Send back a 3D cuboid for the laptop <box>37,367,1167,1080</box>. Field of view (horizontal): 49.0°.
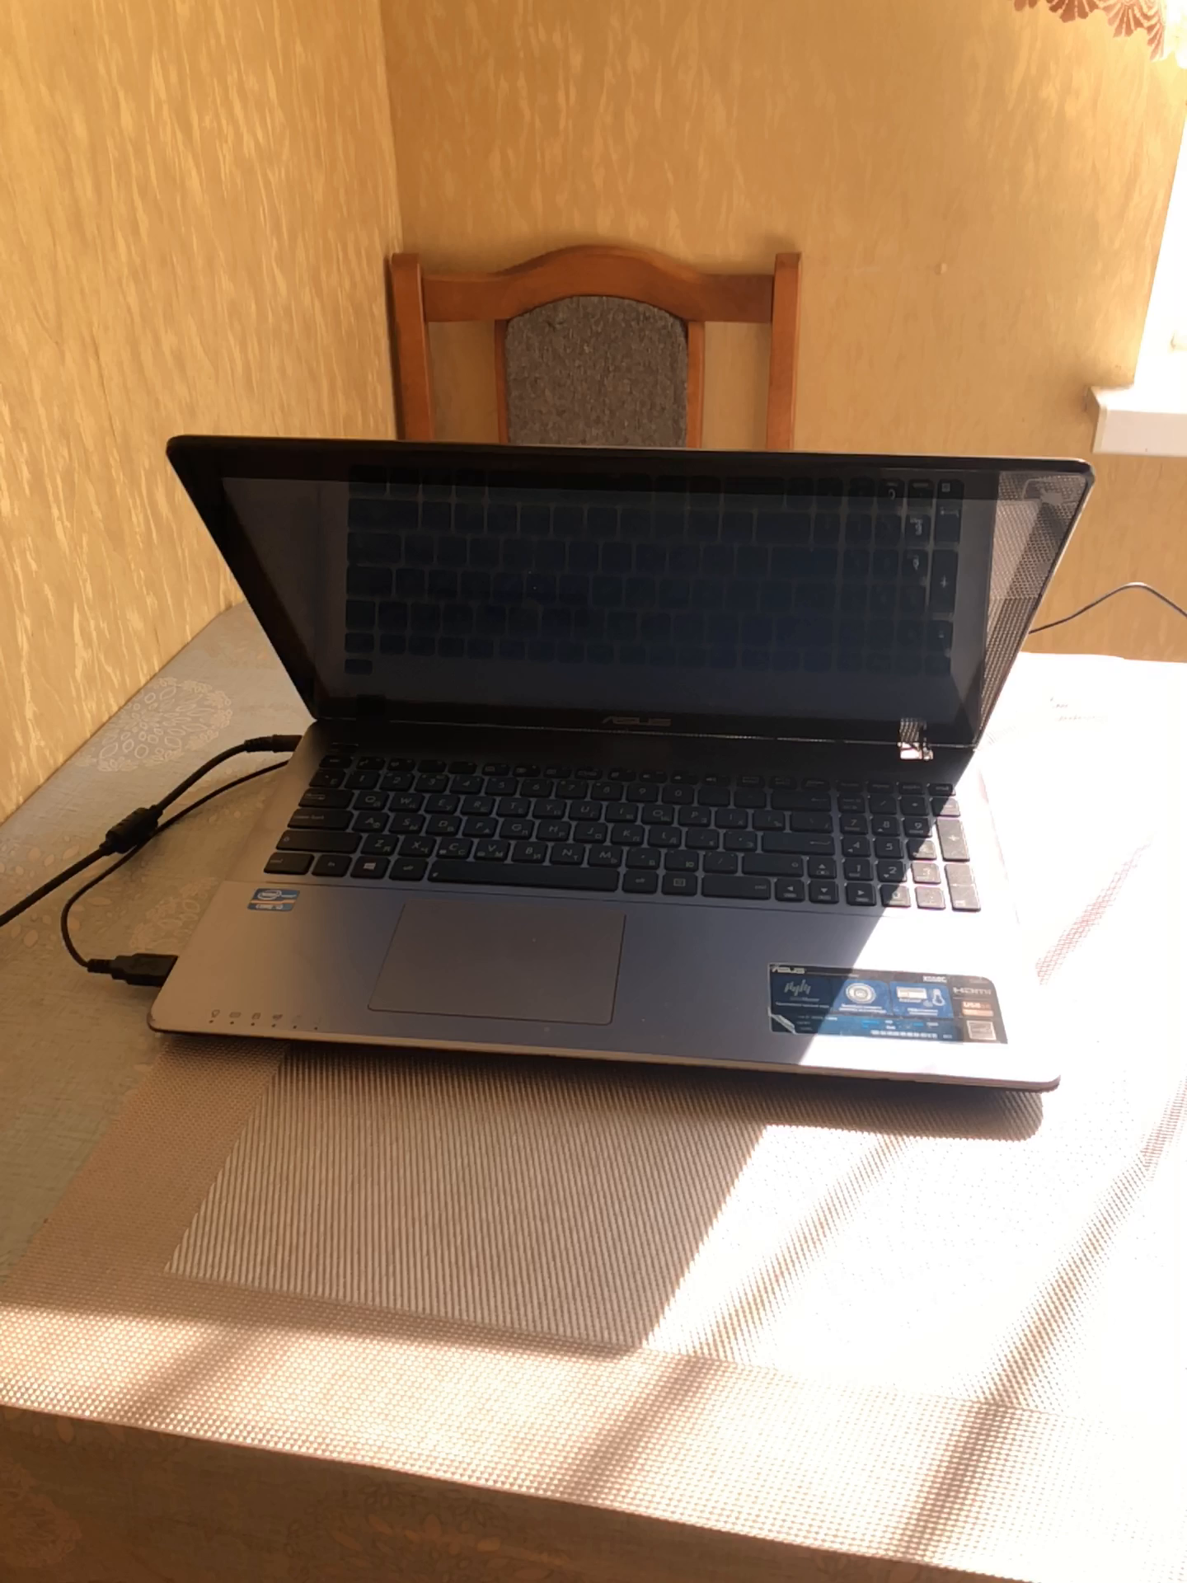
[{"bbox_3d":[0.012,-0.046,0.568,0.363,0.197,0.241,2,34,5],"label":"laptop"}]
